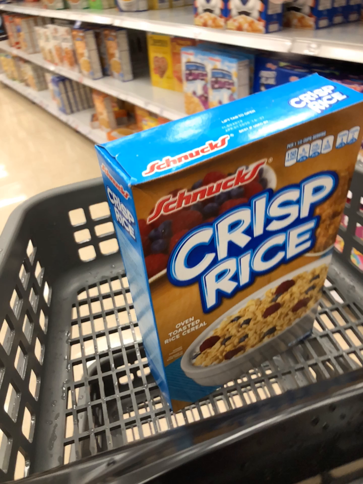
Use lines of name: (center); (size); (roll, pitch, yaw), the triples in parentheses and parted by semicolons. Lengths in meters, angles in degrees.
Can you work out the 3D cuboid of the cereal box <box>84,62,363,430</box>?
cereal box: (0.057, 0.022, 0.373); (0.220, 0.299, 0.060); (-24, 45, -21)
